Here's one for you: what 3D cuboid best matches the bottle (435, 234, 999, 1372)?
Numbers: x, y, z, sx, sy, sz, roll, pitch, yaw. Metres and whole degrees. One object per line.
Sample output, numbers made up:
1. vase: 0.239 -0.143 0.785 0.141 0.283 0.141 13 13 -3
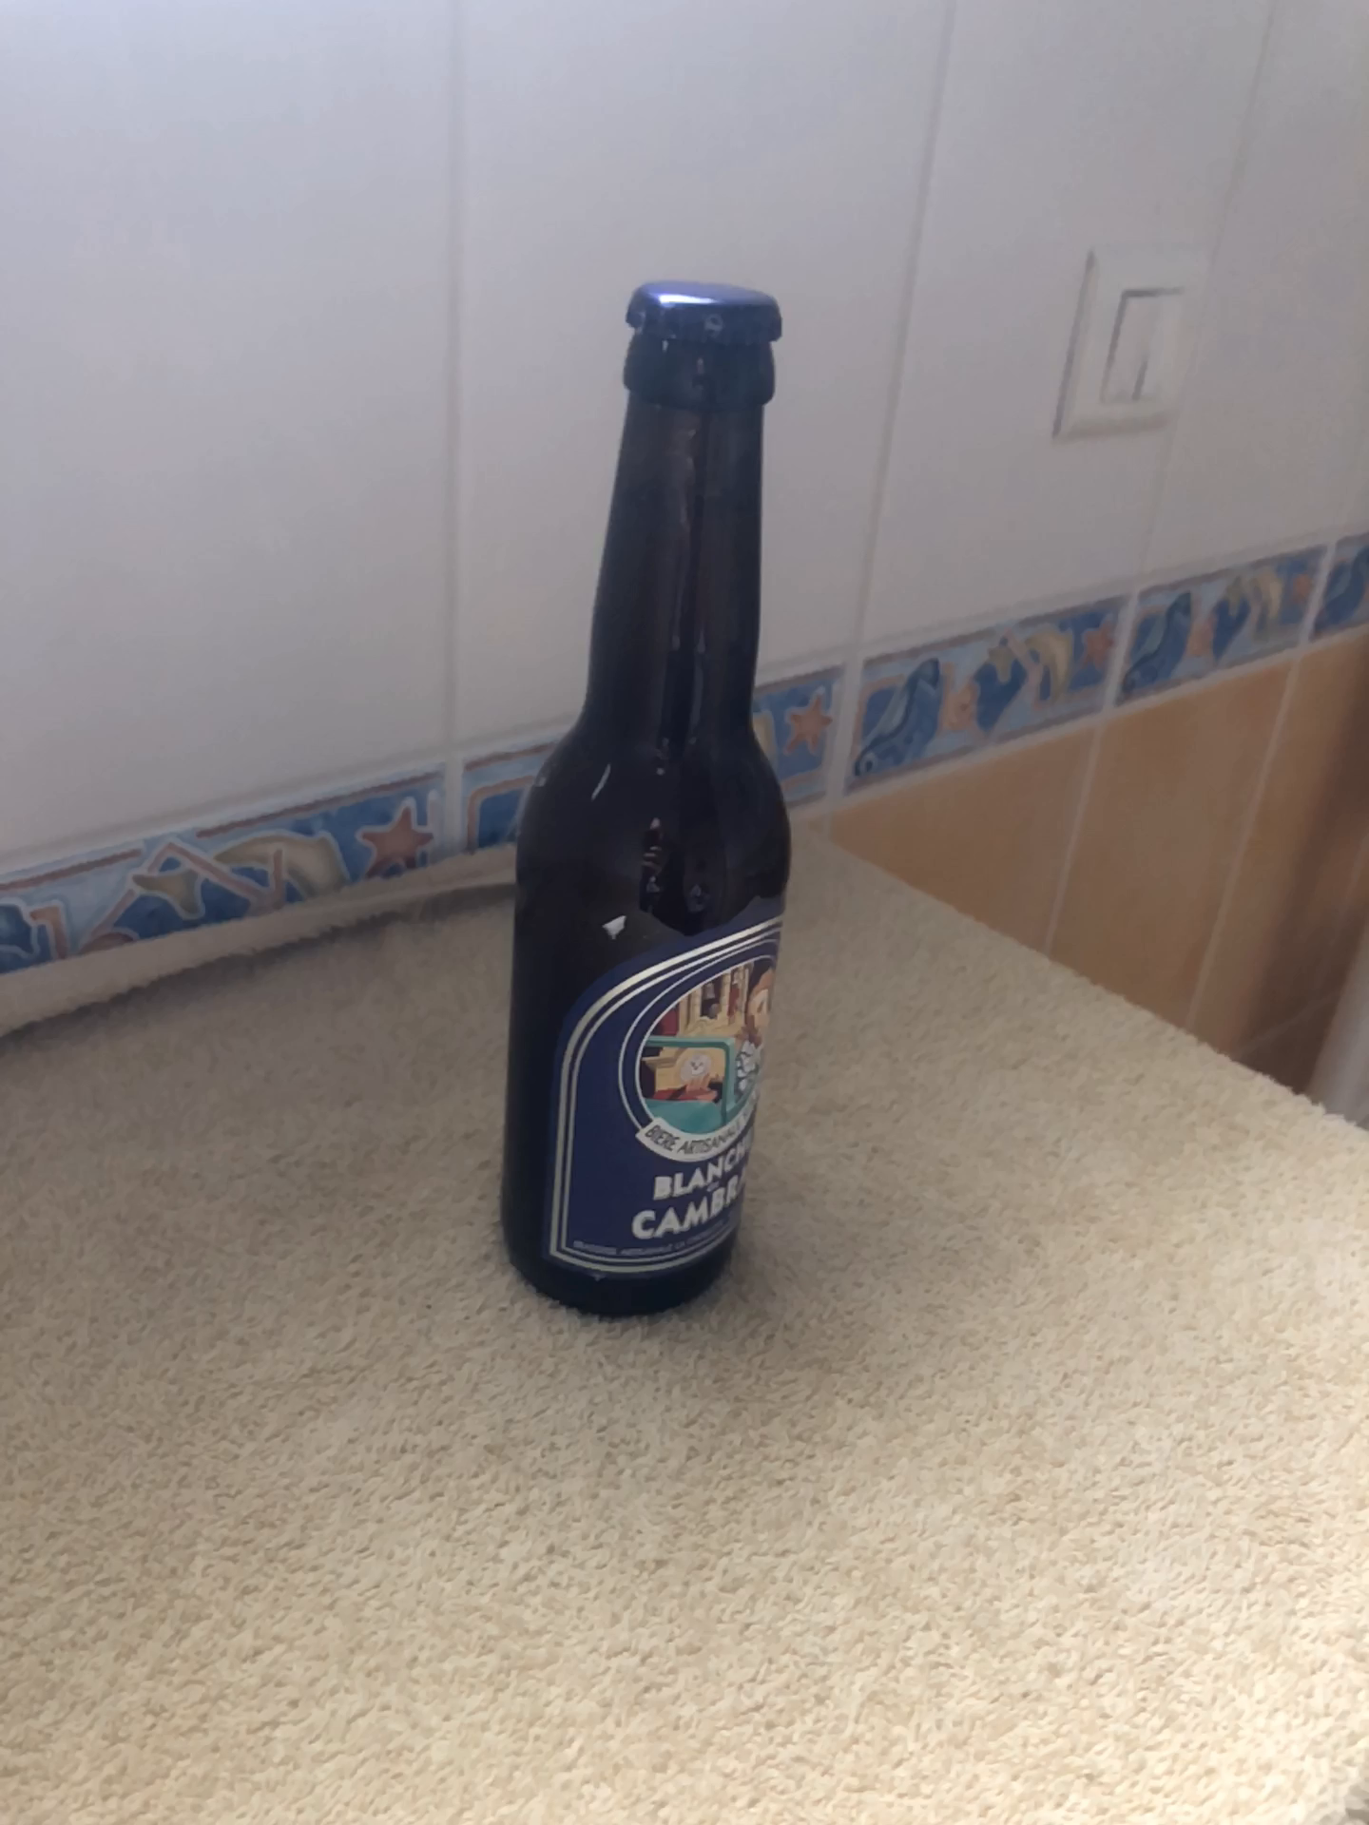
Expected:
1. bottle: -0.003 -0.020 0.321 0.070 0.219 0.070 4 29 -2
